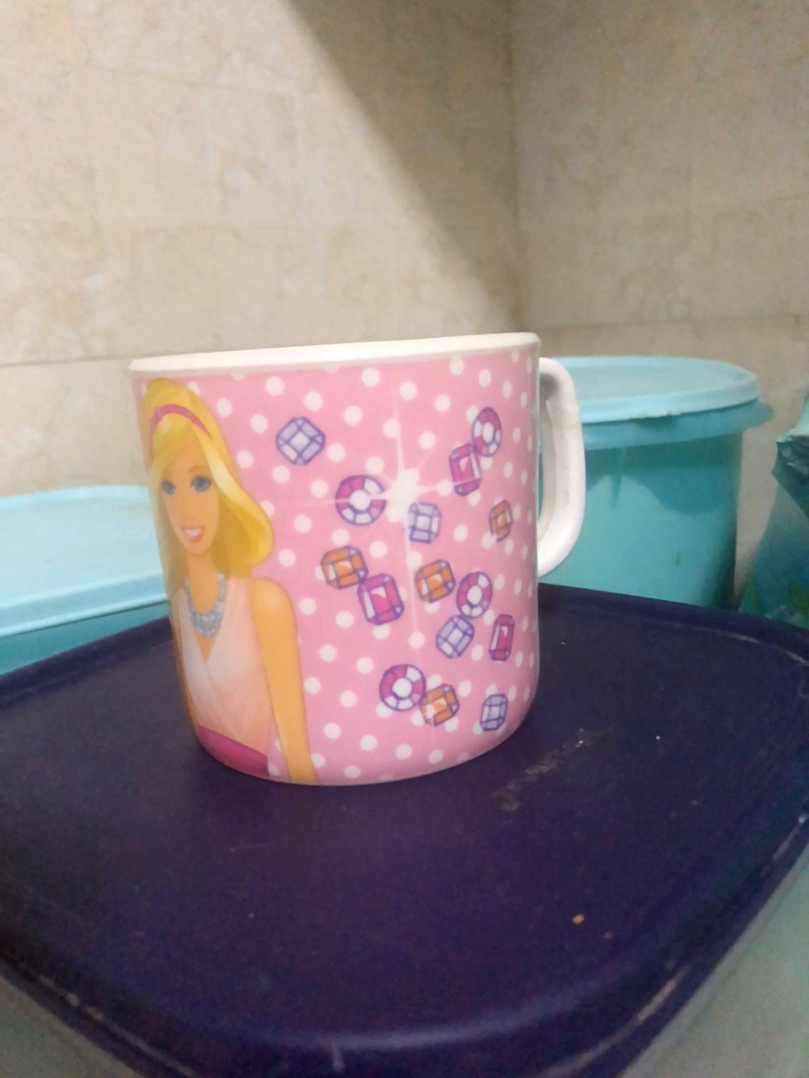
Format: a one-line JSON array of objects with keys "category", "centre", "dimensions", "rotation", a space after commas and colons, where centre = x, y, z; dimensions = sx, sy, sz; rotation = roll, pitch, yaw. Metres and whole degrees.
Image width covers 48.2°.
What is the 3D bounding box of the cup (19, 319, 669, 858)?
[{"category": "cup", "centre": [-0.005, -0.005, 0.206], "dimensions": [0.080, 0.080, 0.120], "rotation": [8, 17, 42]}]
